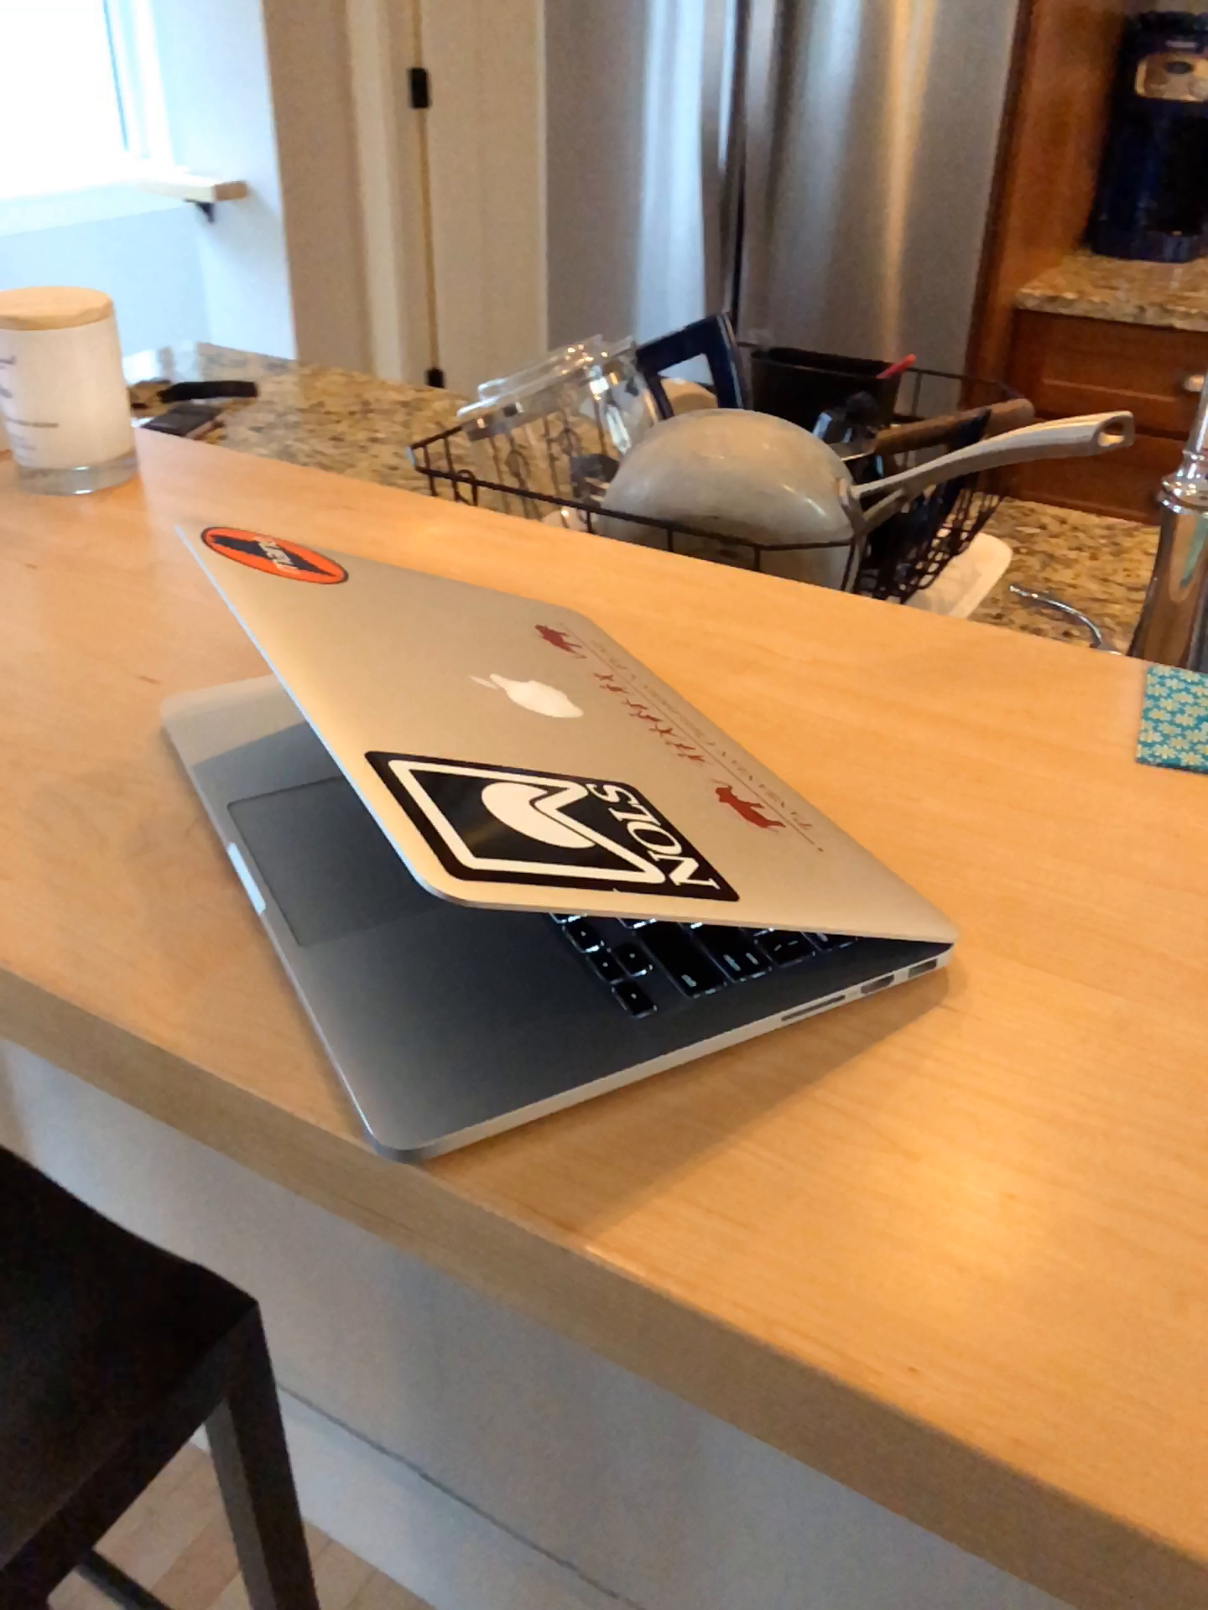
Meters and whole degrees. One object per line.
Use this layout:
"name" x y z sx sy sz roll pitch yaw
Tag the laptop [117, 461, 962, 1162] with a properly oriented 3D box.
"laptop" -0.047 -0.032 0.518 0.210 0.084 0.301 -15 36 -22
